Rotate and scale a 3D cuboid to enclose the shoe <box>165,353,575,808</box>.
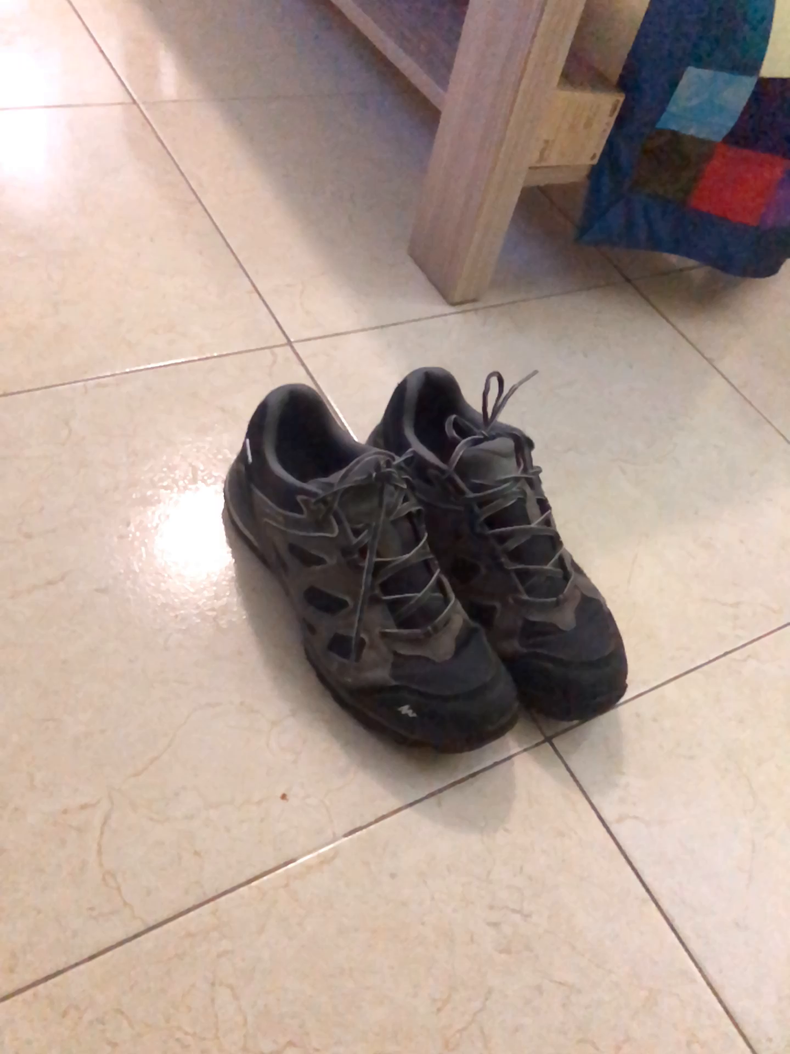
[{"bbox_3d":[-0.035,0.026,0.639,0.120,0.110,0.310,-26,62,-32],"label":"shoe"}]

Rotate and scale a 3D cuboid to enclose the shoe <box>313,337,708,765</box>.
[{"bbox_3d":[0.070,0.005,0.677,0.120,0.110,0.310,-20,59,-28],"label":"shoe"}]
